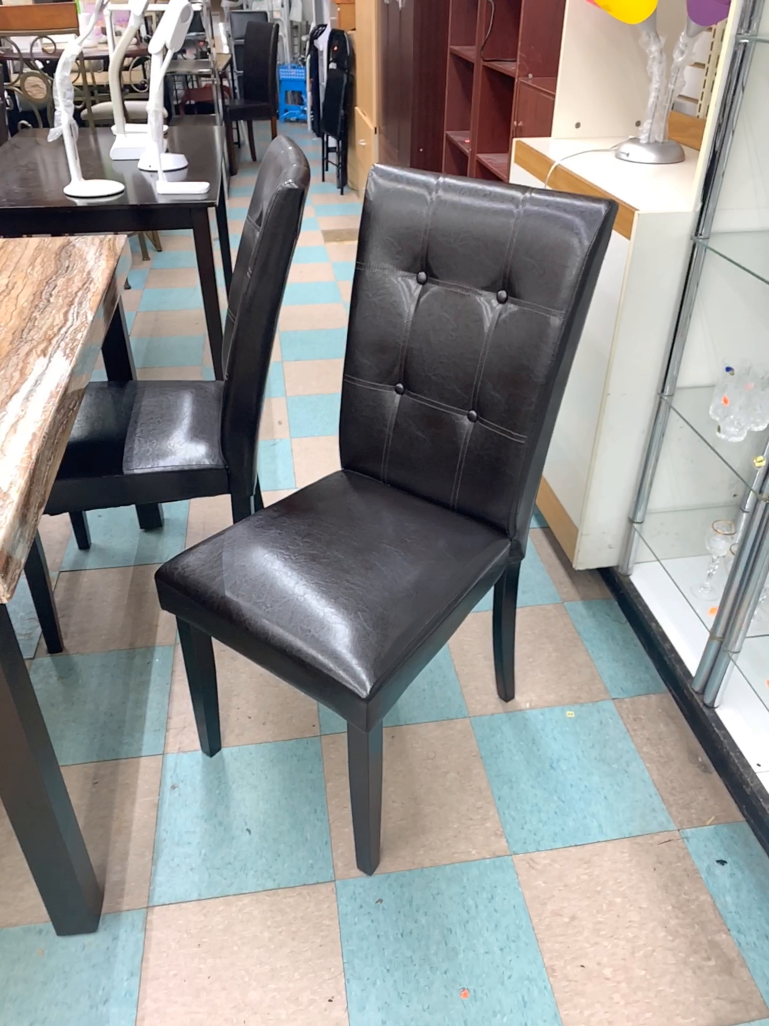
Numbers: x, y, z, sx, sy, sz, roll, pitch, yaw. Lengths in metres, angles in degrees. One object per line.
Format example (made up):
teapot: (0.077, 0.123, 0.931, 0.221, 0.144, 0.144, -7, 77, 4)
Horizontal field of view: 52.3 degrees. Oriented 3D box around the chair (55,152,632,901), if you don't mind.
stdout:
chair: (-0.023, -0.001, 1.252, 0.470, 0.939, 0.574, 24, 41, 32)
